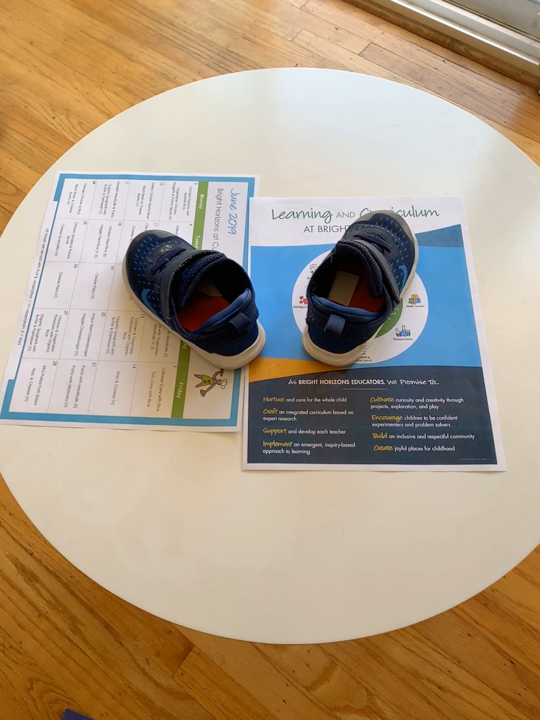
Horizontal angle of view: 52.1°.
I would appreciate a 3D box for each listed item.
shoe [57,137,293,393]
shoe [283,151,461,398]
[{"bbox_3d":[-0.070,-0.074,0.451,0.080,0.110,0.170,-43,72,-15],"label":"shoe"},{"bbox_3d":[0.087,-0.074,0.492,0.080,0.110,0.170,25,70,12],"label":"shoe"}]
